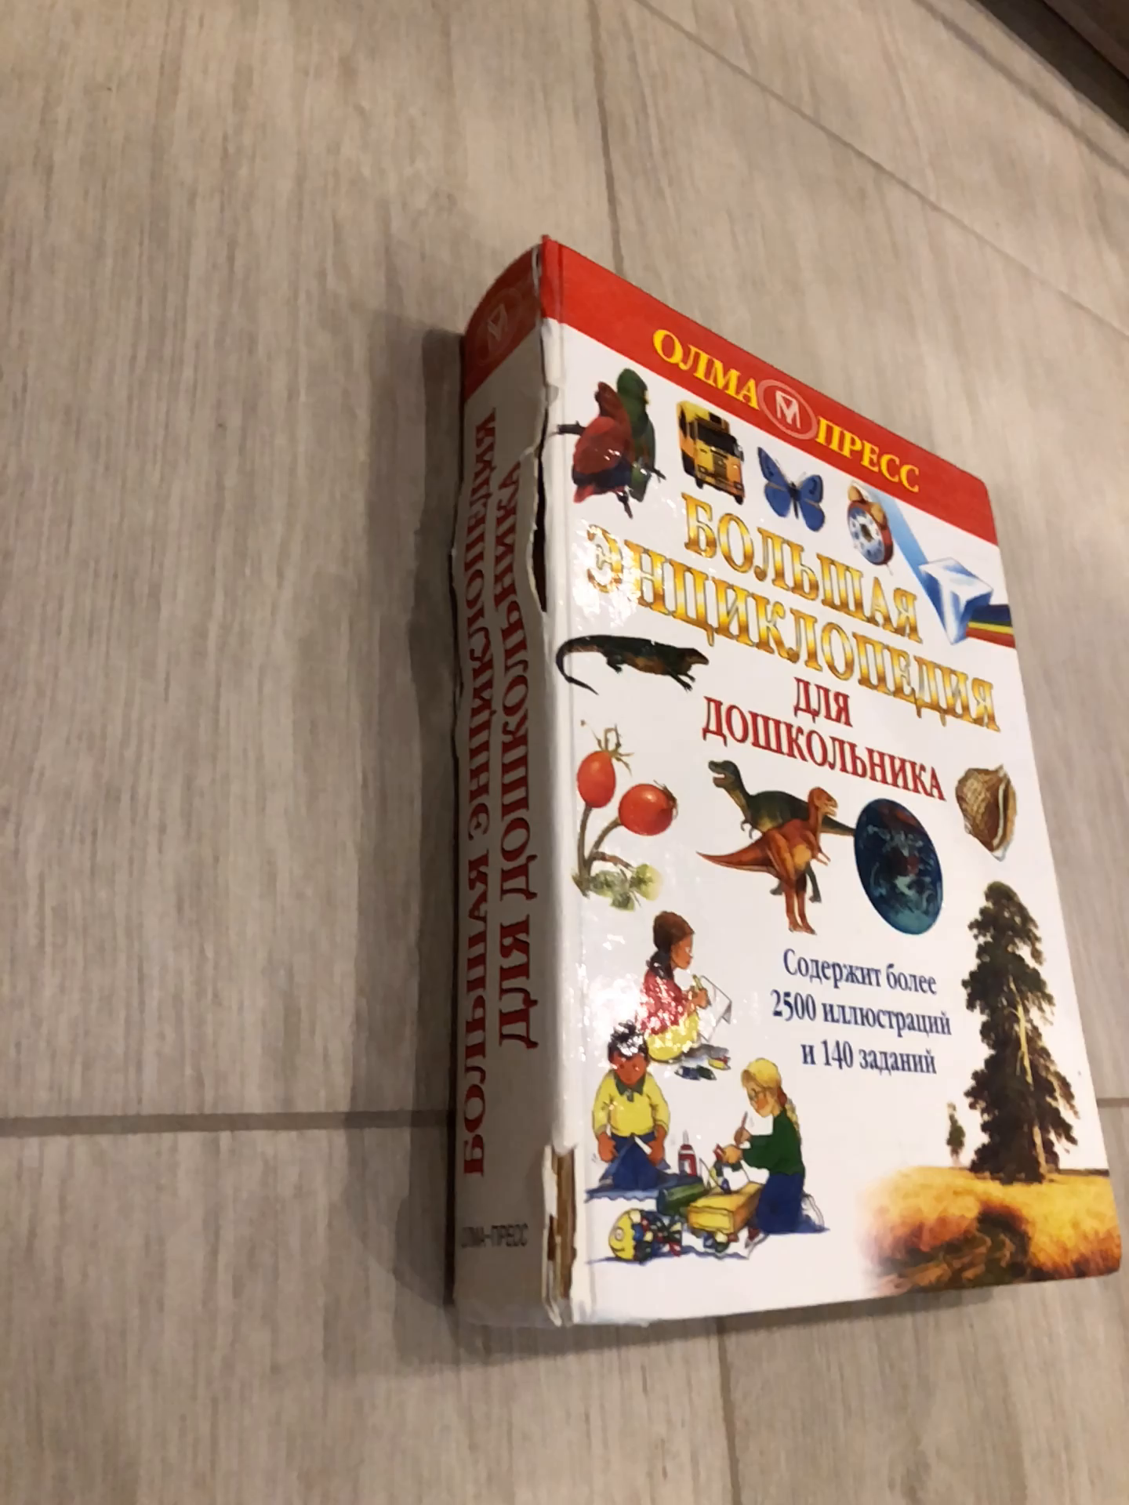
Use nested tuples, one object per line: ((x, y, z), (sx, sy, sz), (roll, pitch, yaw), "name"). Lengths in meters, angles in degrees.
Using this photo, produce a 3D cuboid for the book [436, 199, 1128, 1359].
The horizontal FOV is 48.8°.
((0.072, 0.013, 0.367), (0.217, 0.060, 0.281), (15, 63, -36), "book")
